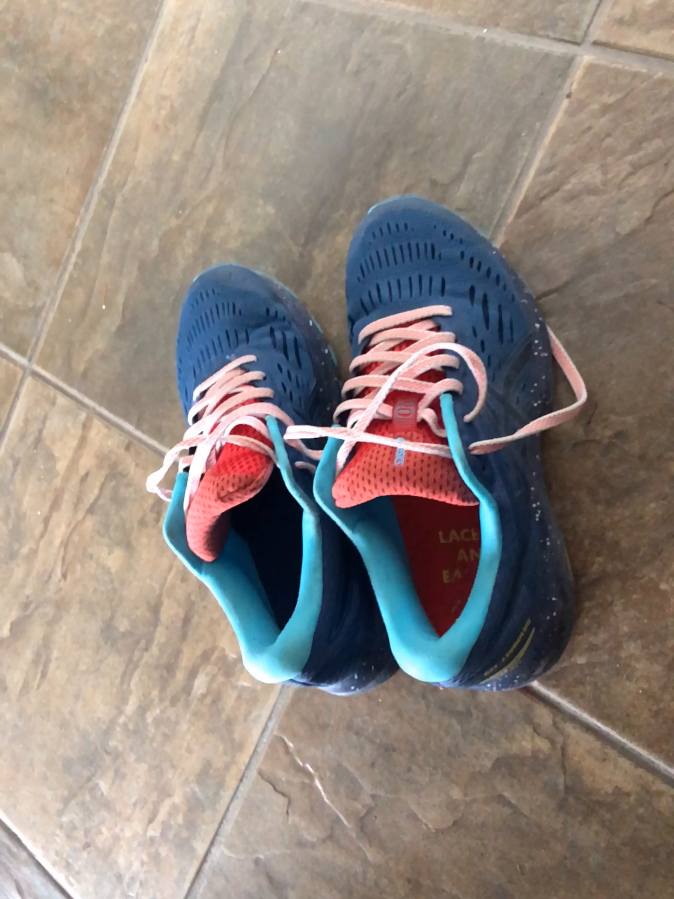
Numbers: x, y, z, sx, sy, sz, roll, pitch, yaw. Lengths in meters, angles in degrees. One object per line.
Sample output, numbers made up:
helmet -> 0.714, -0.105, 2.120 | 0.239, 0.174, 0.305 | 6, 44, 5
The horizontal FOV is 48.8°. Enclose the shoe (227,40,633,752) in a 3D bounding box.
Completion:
shoe -> 0.050, -0.018, 0.389 | 0.120, 0.130, 0.300 | -14, 80, 27

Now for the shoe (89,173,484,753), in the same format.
shoe -> -0.033, 0.008, 0.470 | 0.120, 0.130, 0.300 | -24, 75, 25
